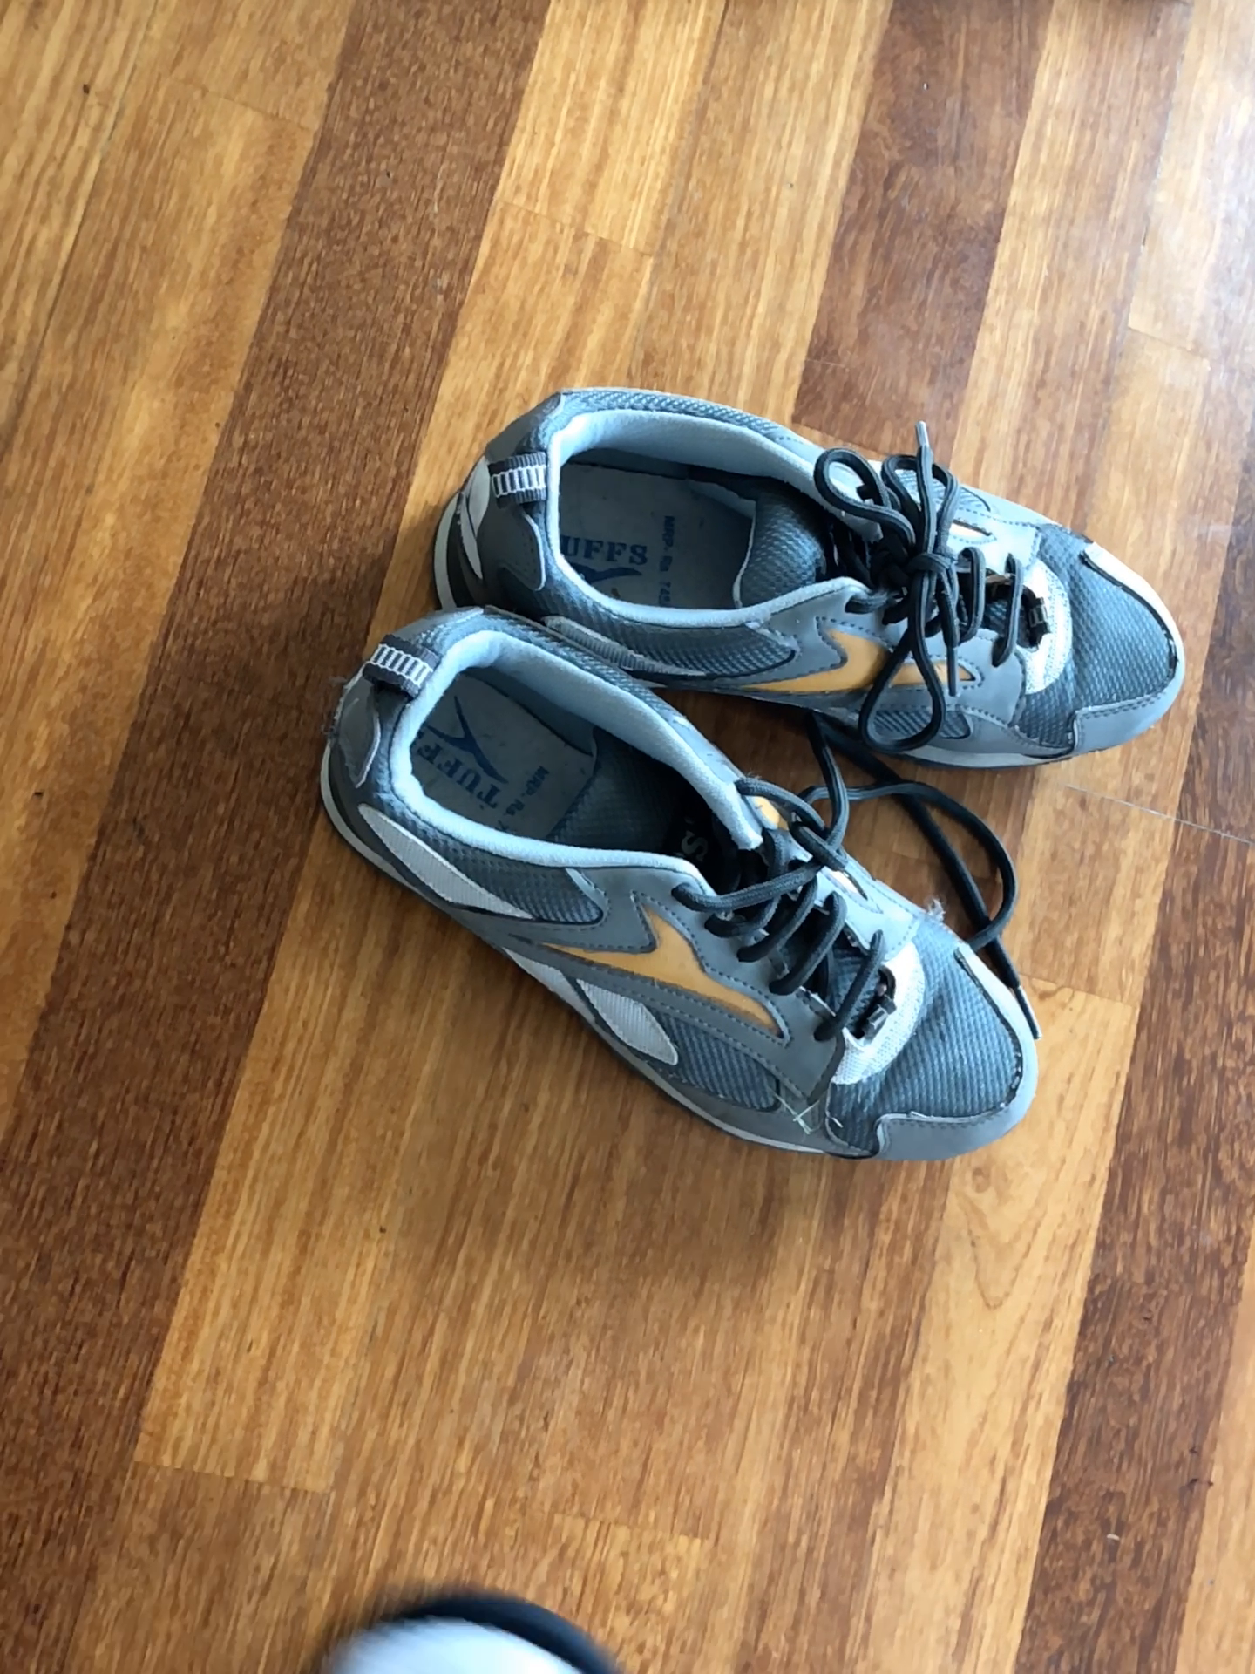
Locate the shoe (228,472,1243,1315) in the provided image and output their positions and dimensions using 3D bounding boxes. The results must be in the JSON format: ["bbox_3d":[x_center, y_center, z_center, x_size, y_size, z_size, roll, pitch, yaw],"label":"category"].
[{"bbox_3d":[0.032,0.024,0.430,0.283,0.088,0.110,31,75,-9],"label":"shoe"}]

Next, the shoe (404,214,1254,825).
[{"bbox_3d":[0.080,-0.092,0.464,0.283,0.099,0.112,11,79,-12],"label":"shoe"}]
